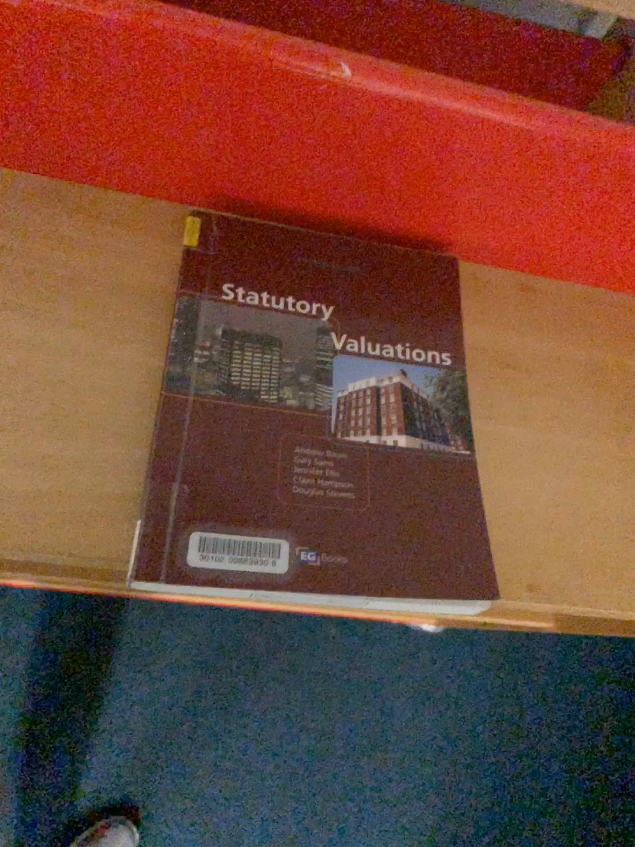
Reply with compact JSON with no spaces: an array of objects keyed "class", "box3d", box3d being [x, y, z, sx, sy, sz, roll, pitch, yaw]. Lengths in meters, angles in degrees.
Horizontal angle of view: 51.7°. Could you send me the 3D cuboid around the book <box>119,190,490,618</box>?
[{"class":"book","box3d":[0.000,-0.021,0.396,0.188,0.027,0.253,8,61,-11]}]
